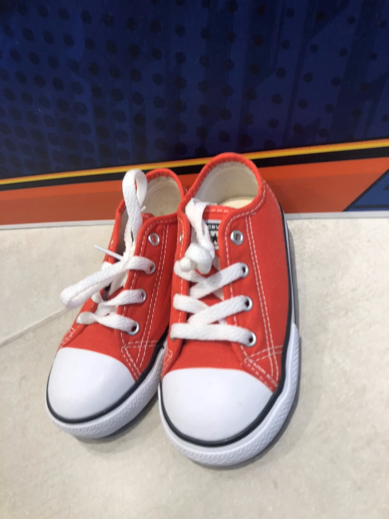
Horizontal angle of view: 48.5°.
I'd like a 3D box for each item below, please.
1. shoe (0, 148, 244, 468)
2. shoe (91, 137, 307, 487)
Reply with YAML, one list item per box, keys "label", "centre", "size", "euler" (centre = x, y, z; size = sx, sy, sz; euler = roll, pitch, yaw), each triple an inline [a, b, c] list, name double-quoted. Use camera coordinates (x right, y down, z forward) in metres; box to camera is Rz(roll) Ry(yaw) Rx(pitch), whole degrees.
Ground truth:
- label: "shoe"
  centre: [-0.038, 0.017, 0.284]
  size: [0.080, 0.070, 0.191]
  euler: [1, 50, 27]
- label: "shoe"
  centre: [0.020, 0.018, 0.259]
  size: [0.080, 0.070, 0.191]
  euler: [-6, 47, 21]
